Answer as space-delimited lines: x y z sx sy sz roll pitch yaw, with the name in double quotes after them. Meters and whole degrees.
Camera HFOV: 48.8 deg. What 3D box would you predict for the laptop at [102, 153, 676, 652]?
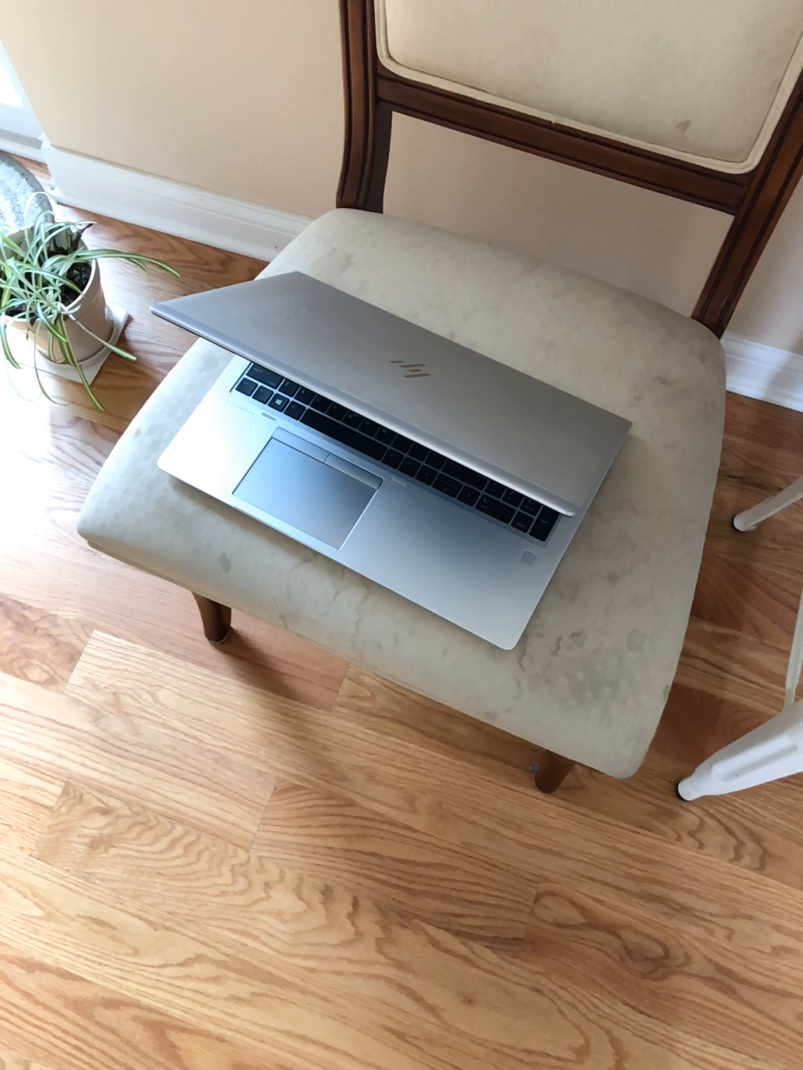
-0.008 -0.113 0.746 0.366 0.159 0.244 27 71 12 "laptop"
